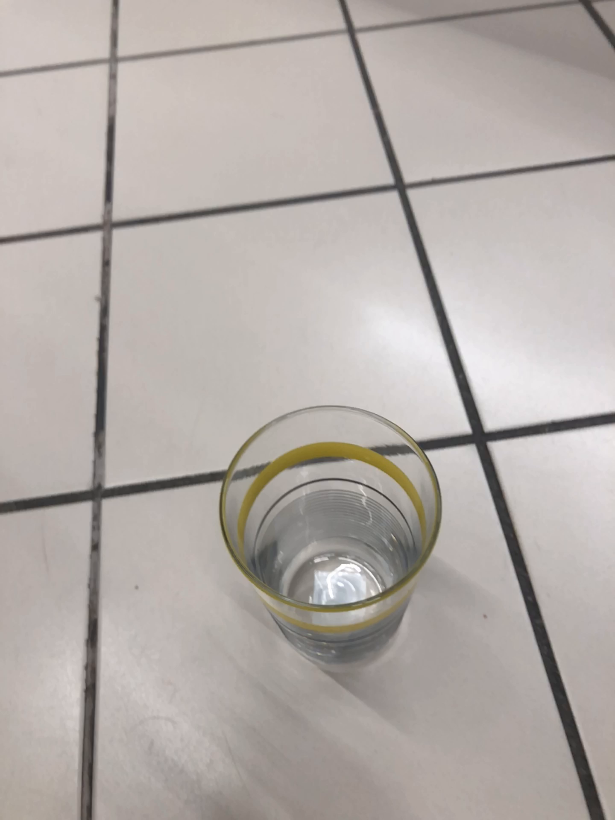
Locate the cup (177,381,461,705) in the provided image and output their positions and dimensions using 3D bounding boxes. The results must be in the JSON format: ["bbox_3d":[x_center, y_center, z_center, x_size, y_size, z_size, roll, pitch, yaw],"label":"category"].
[{"bbox_3d":[0.010,0.058,0.274,0.076,0.114,0.080,-2,60,3],"label":"cup"}]
